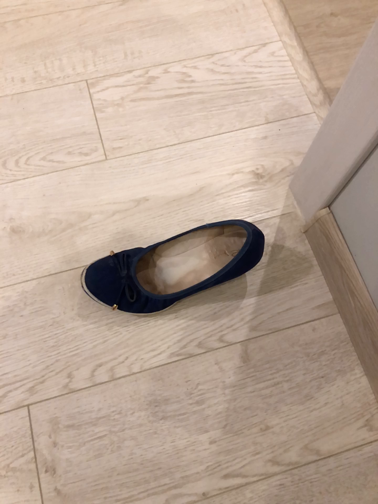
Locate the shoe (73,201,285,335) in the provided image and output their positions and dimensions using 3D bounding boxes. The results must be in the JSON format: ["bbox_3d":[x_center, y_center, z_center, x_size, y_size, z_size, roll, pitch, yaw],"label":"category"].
[{"bbox_3d":[-0.014,0.024,0.531,0.230,0.110,0.099,-12,71,-6],"label":"shoe"}]
